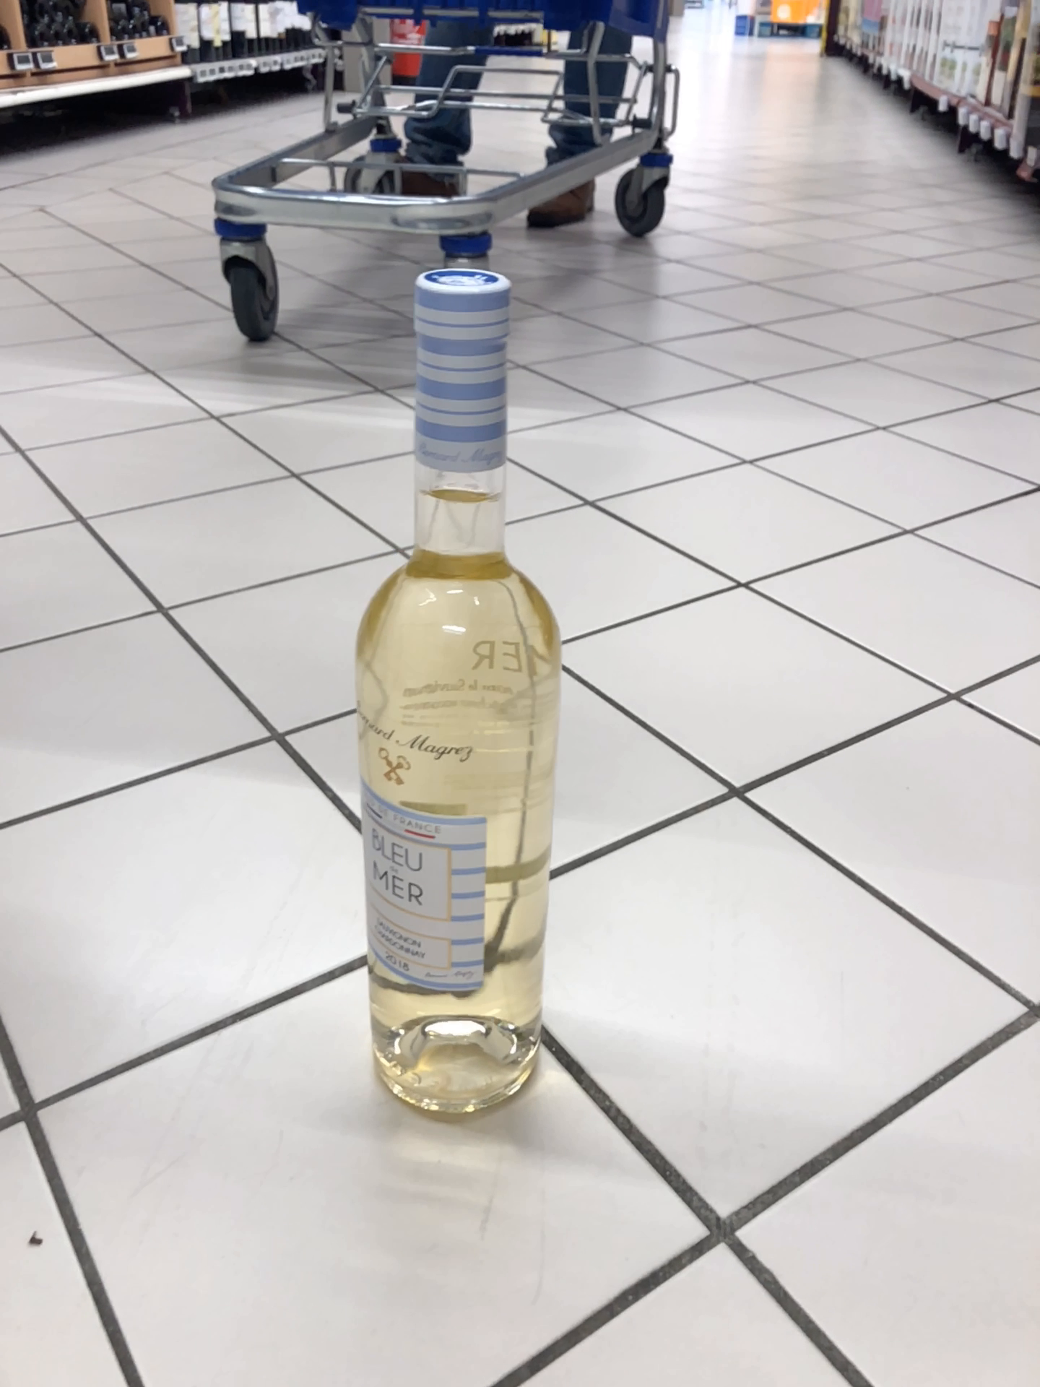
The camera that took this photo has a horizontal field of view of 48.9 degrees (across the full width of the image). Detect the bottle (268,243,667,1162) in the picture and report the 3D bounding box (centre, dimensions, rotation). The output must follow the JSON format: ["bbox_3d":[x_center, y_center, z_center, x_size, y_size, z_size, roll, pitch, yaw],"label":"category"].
[{"bbox_3d":[-0.017,0.015,0.402,0.080,0.308,0.080,1,31,-1],"label":"bottle"}]
